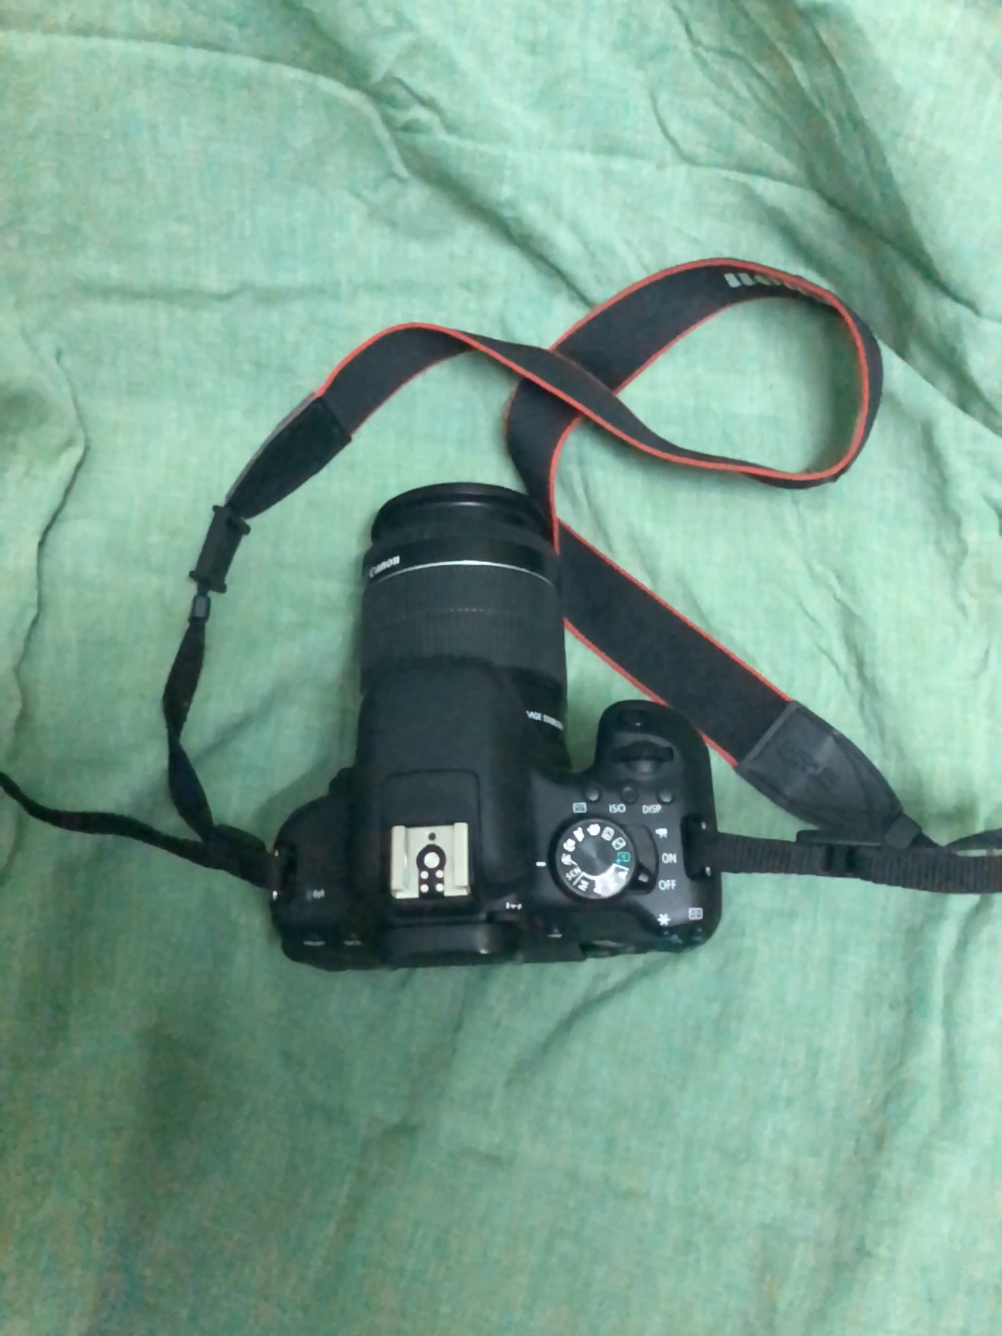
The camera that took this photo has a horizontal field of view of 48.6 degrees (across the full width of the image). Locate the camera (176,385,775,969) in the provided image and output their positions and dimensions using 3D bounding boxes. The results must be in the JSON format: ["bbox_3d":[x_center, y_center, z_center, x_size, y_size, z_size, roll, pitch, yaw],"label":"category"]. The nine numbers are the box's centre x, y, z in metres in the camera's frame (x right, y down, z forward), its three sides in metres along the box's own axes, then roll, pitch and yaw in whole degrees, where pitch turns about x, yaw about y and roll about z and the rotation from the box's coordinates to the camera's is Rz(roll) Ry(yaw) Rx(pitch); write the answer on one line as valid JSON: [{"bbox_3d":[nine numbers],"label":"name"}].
[{"bbox_3d":[-0.008,0.010,0.332,0.142,0.100,0.144,-3,72,1],"label":"camera"}]
